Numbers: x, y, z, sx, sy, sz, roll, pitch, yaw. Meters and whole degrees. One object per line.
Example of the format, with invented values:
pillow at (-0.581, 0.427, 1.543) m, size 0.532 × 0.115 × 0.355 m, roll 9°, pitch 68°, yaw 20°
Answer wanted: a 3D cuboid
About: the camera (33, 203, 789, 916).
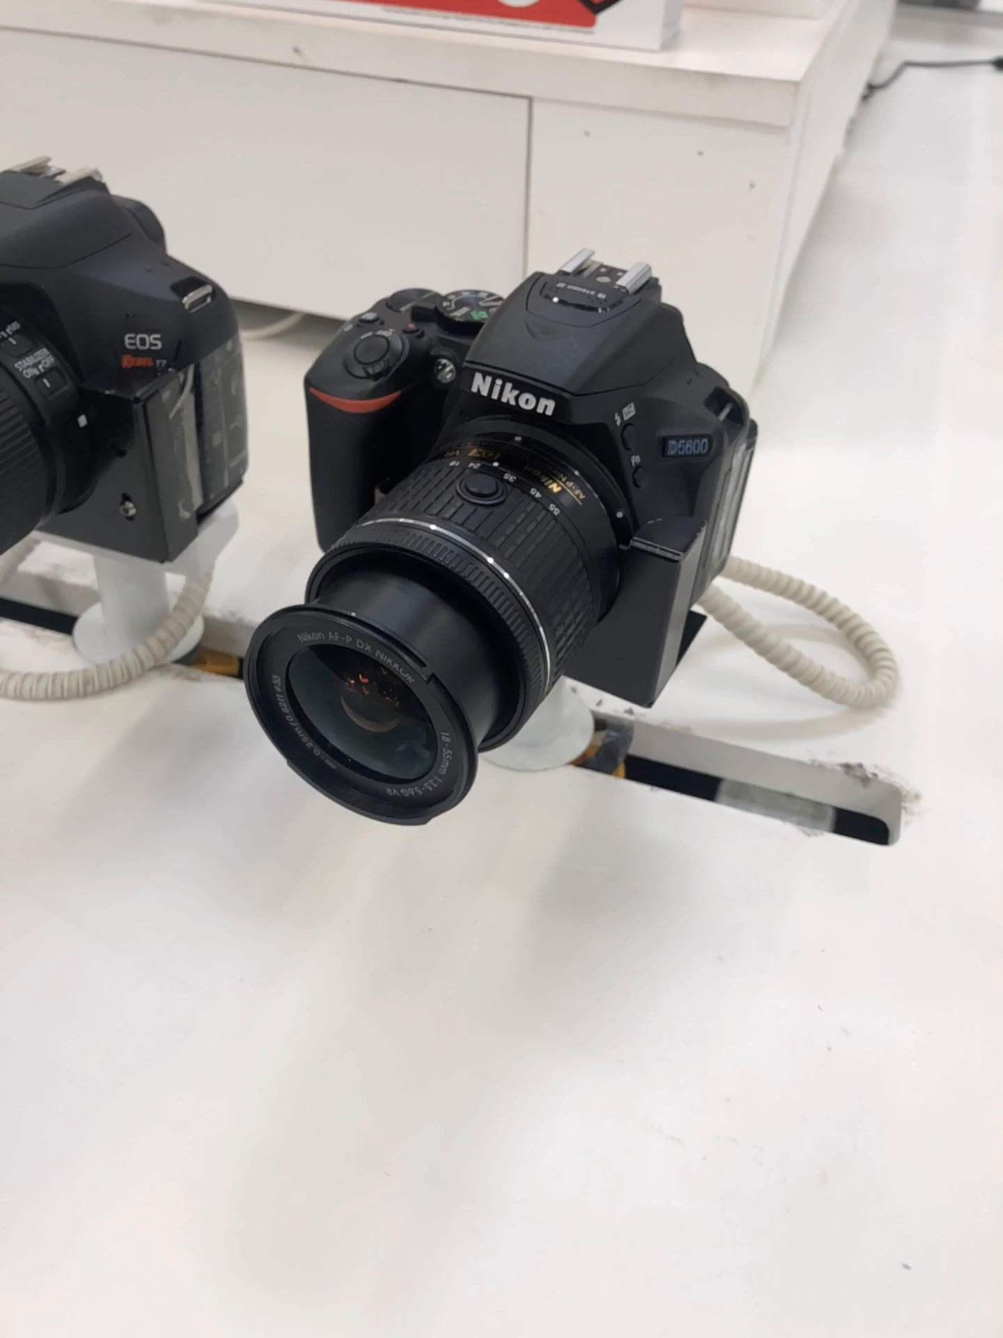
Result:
camera at (-0.010, -0.041, 0.286) m, size 0.120 × 0.089 × 0.151 m, roll 17°, pitch 42°, yaw 15°
